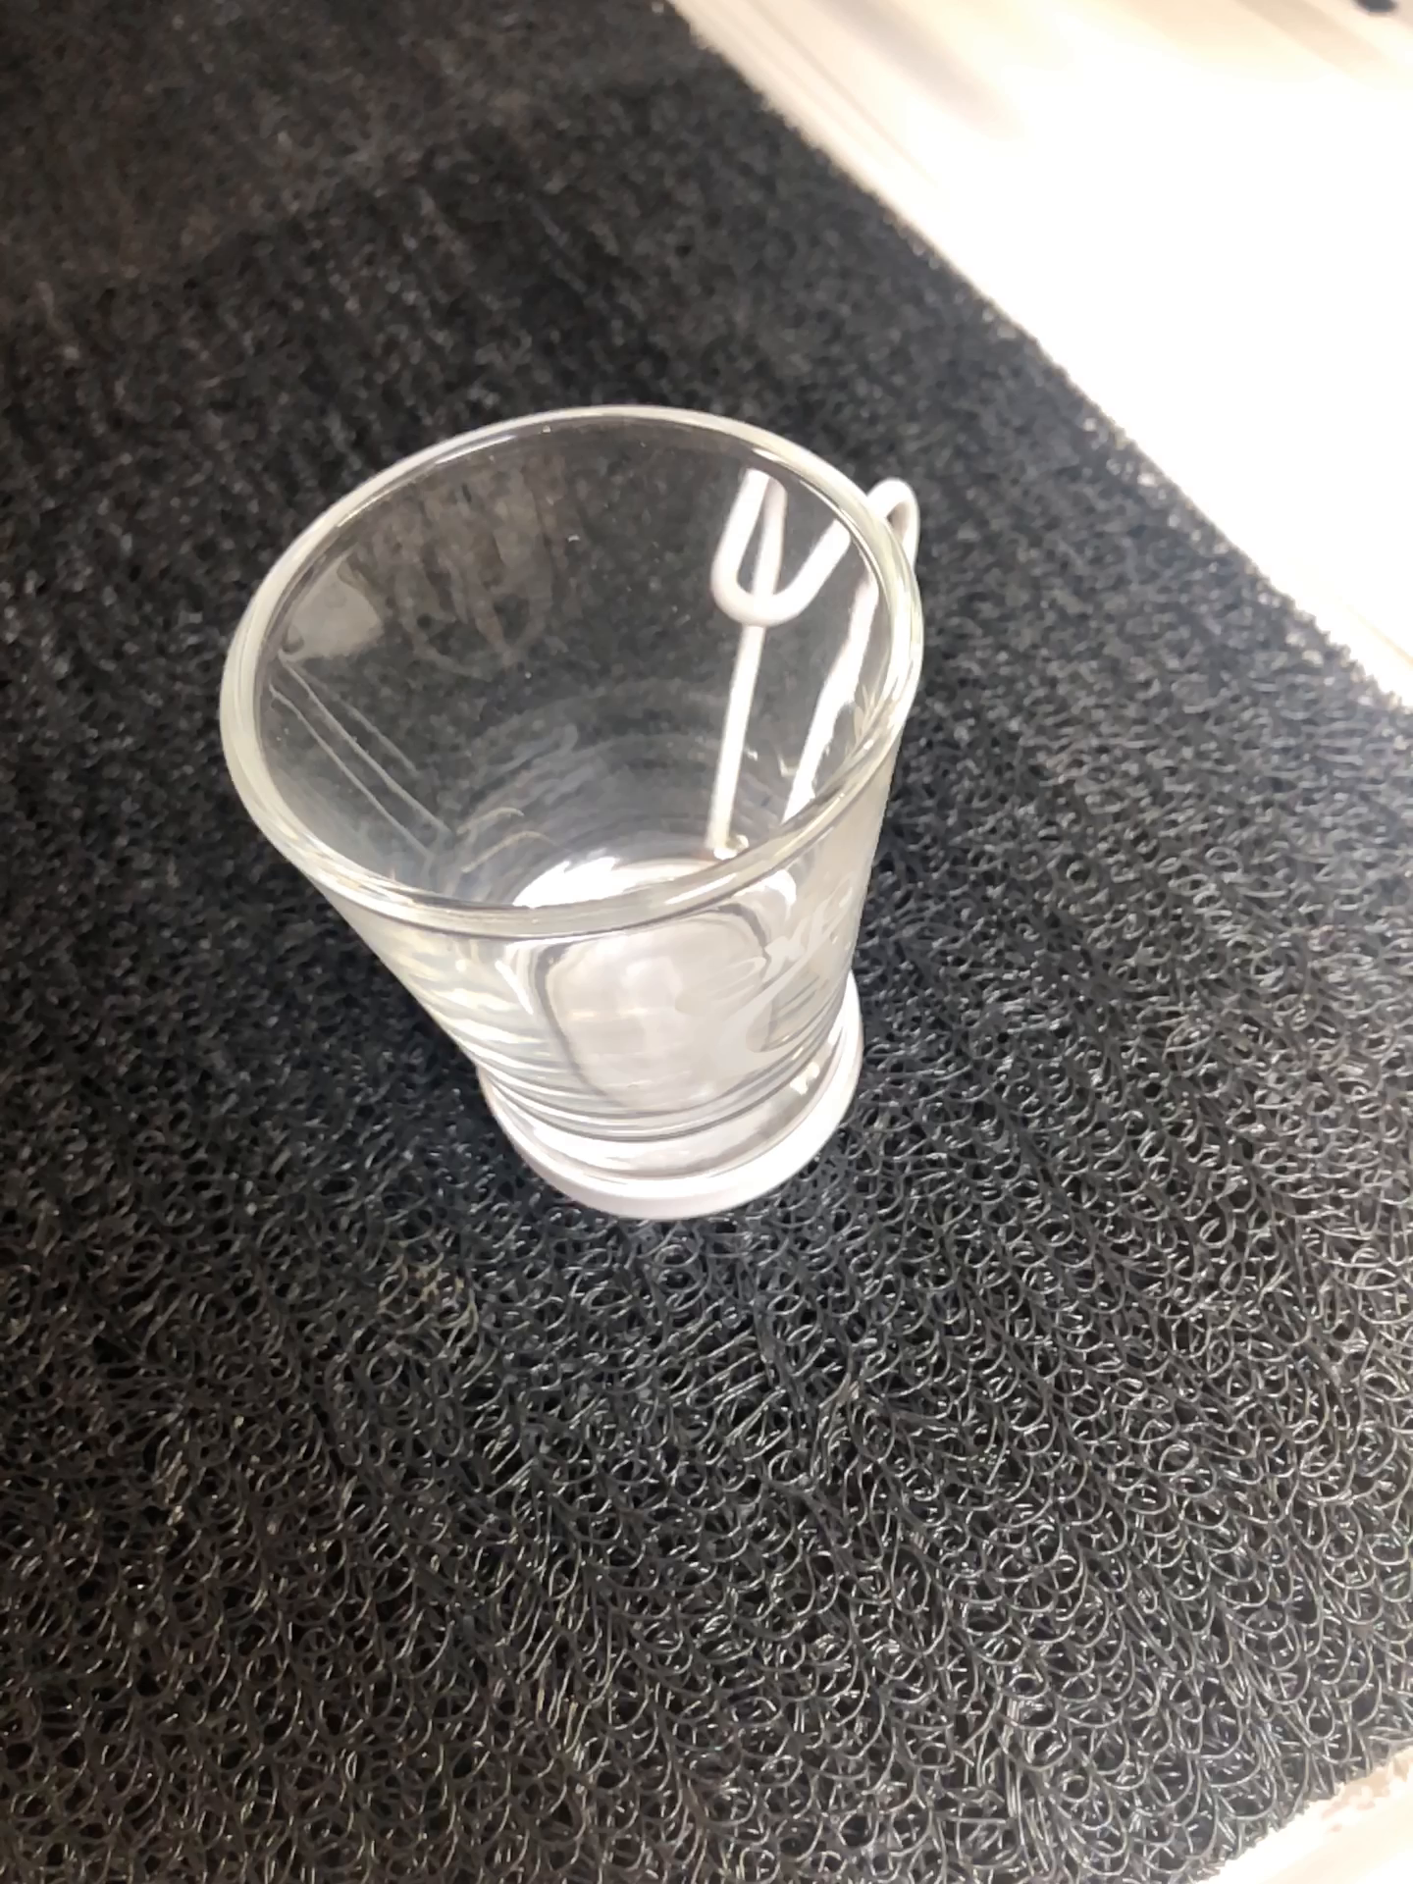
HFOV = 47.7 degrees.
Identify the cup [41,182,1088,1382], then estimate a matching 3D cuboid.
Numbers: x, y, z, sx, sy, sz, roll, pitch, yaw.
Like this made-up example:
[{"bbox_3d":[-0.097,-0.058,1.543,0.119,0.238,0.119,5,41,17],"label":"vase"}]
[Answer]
[{"bbox_3d":[-0.005,-0.017,0.164,0.059,0.063,0.093,16,60,13],"label":"cup"}]
